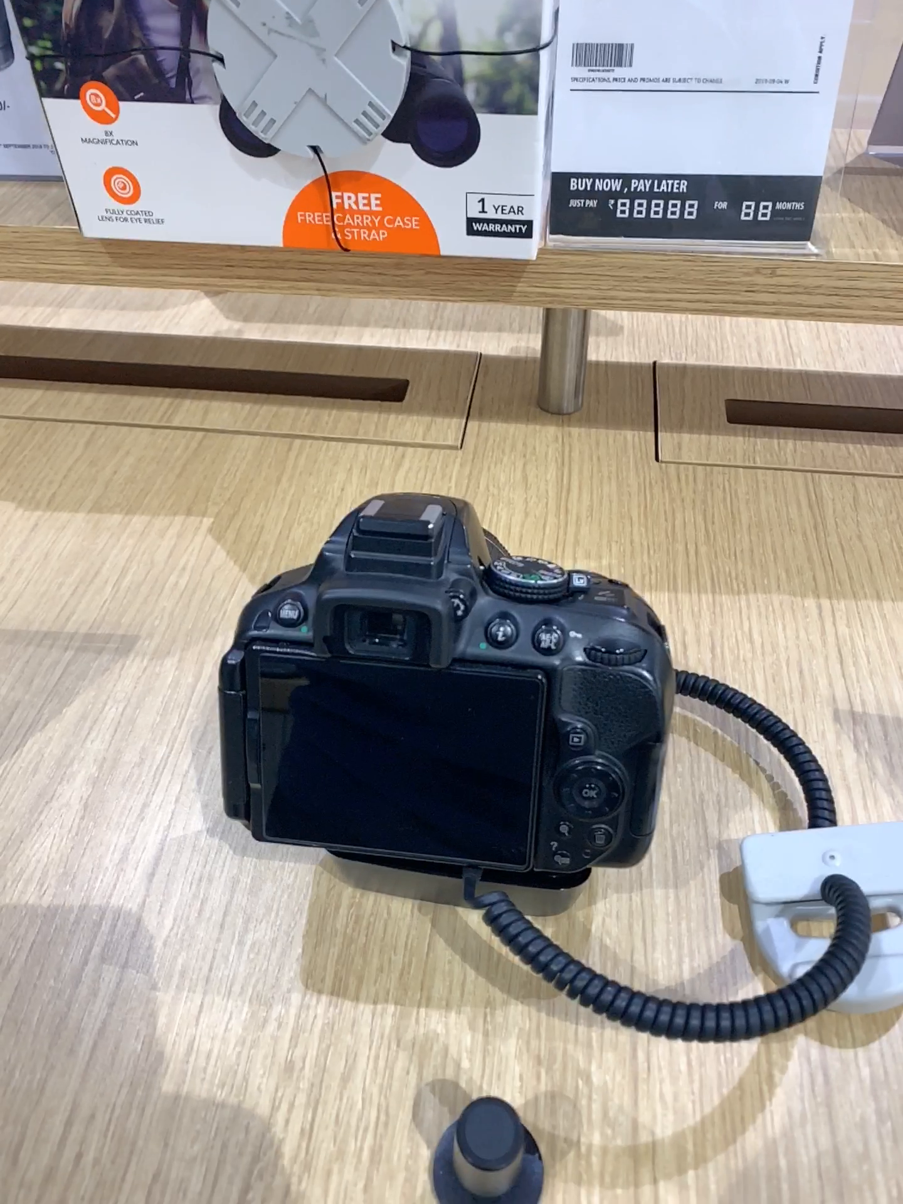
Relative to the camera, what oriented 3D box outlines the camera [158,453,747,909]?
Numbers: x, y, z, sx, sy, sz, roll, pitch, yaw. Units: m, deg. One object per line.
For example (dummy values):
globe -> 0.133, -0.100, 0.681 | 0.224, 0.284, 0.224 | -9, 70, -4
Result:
camera -> 0.003, 0.012, 0.269 | 0.130, 0.080, 0.110 | 5, 22, 6
